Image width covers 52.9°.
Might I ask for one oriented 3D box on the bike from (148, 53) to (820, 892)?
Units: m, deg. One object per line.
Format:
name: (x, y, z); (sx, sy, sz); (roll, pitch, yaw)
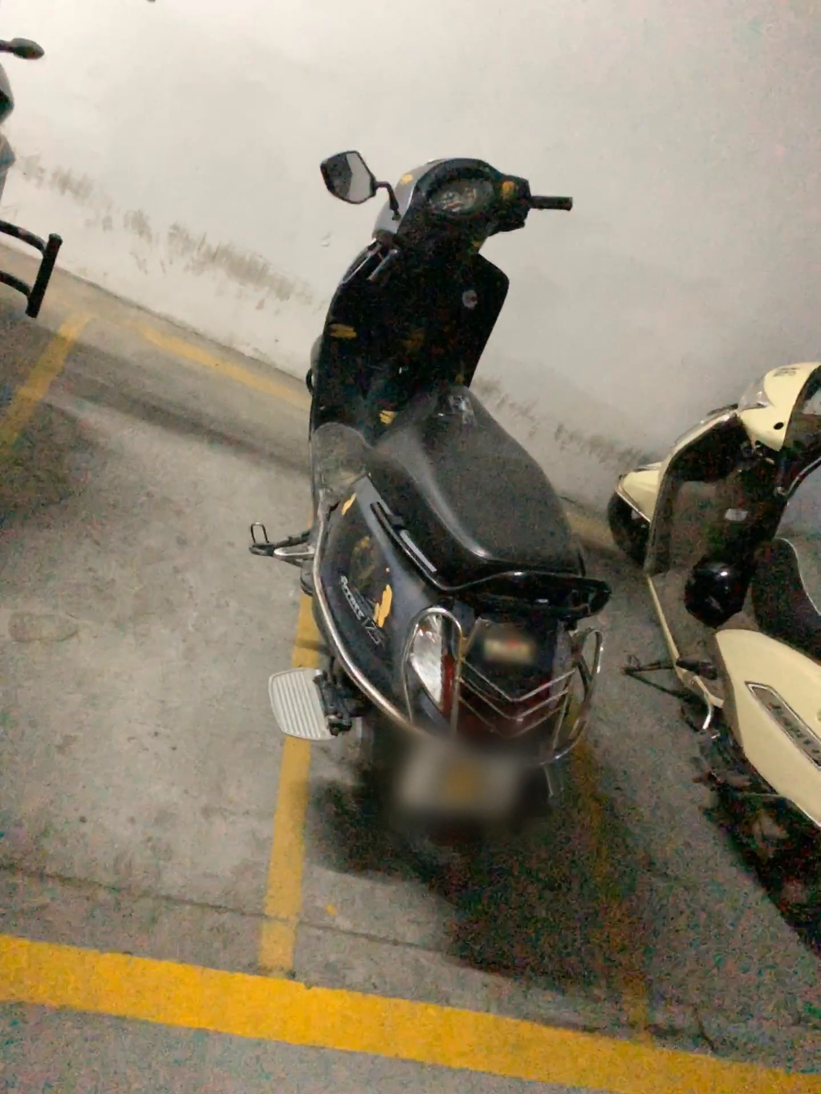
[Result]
bike: (-0.095, -0.209, 1.980); (0.654, 1.239, 1.536); (15, 37, -28)
